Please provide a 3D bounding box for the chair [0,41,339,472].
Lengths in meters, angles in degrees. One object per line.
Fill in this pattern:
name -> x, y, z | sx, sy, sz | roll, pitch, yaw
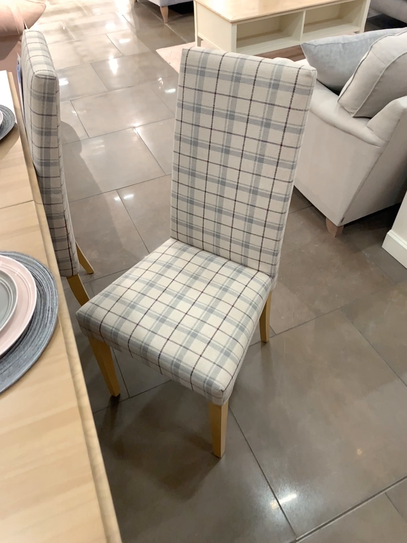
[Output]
chair -> -0.023, 0.013, 1.114 | 0.429, 0.938, 0.570 | 20, 51, 20
